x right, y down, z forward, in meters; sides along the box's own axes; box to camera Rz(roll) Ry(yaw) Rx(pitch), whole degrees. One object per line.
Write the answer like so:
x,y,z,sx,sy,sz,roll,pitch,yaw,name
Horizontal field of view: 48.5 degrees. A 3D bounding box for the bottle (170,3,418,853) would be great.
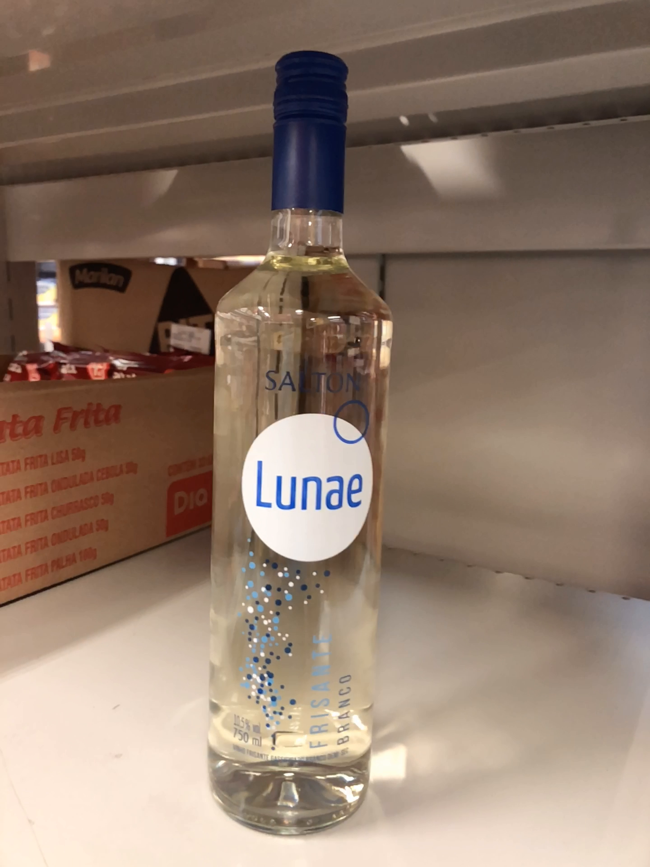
-0.013,0.006,0.301,0.080,0.309,0.080,0,11,0,bottle
